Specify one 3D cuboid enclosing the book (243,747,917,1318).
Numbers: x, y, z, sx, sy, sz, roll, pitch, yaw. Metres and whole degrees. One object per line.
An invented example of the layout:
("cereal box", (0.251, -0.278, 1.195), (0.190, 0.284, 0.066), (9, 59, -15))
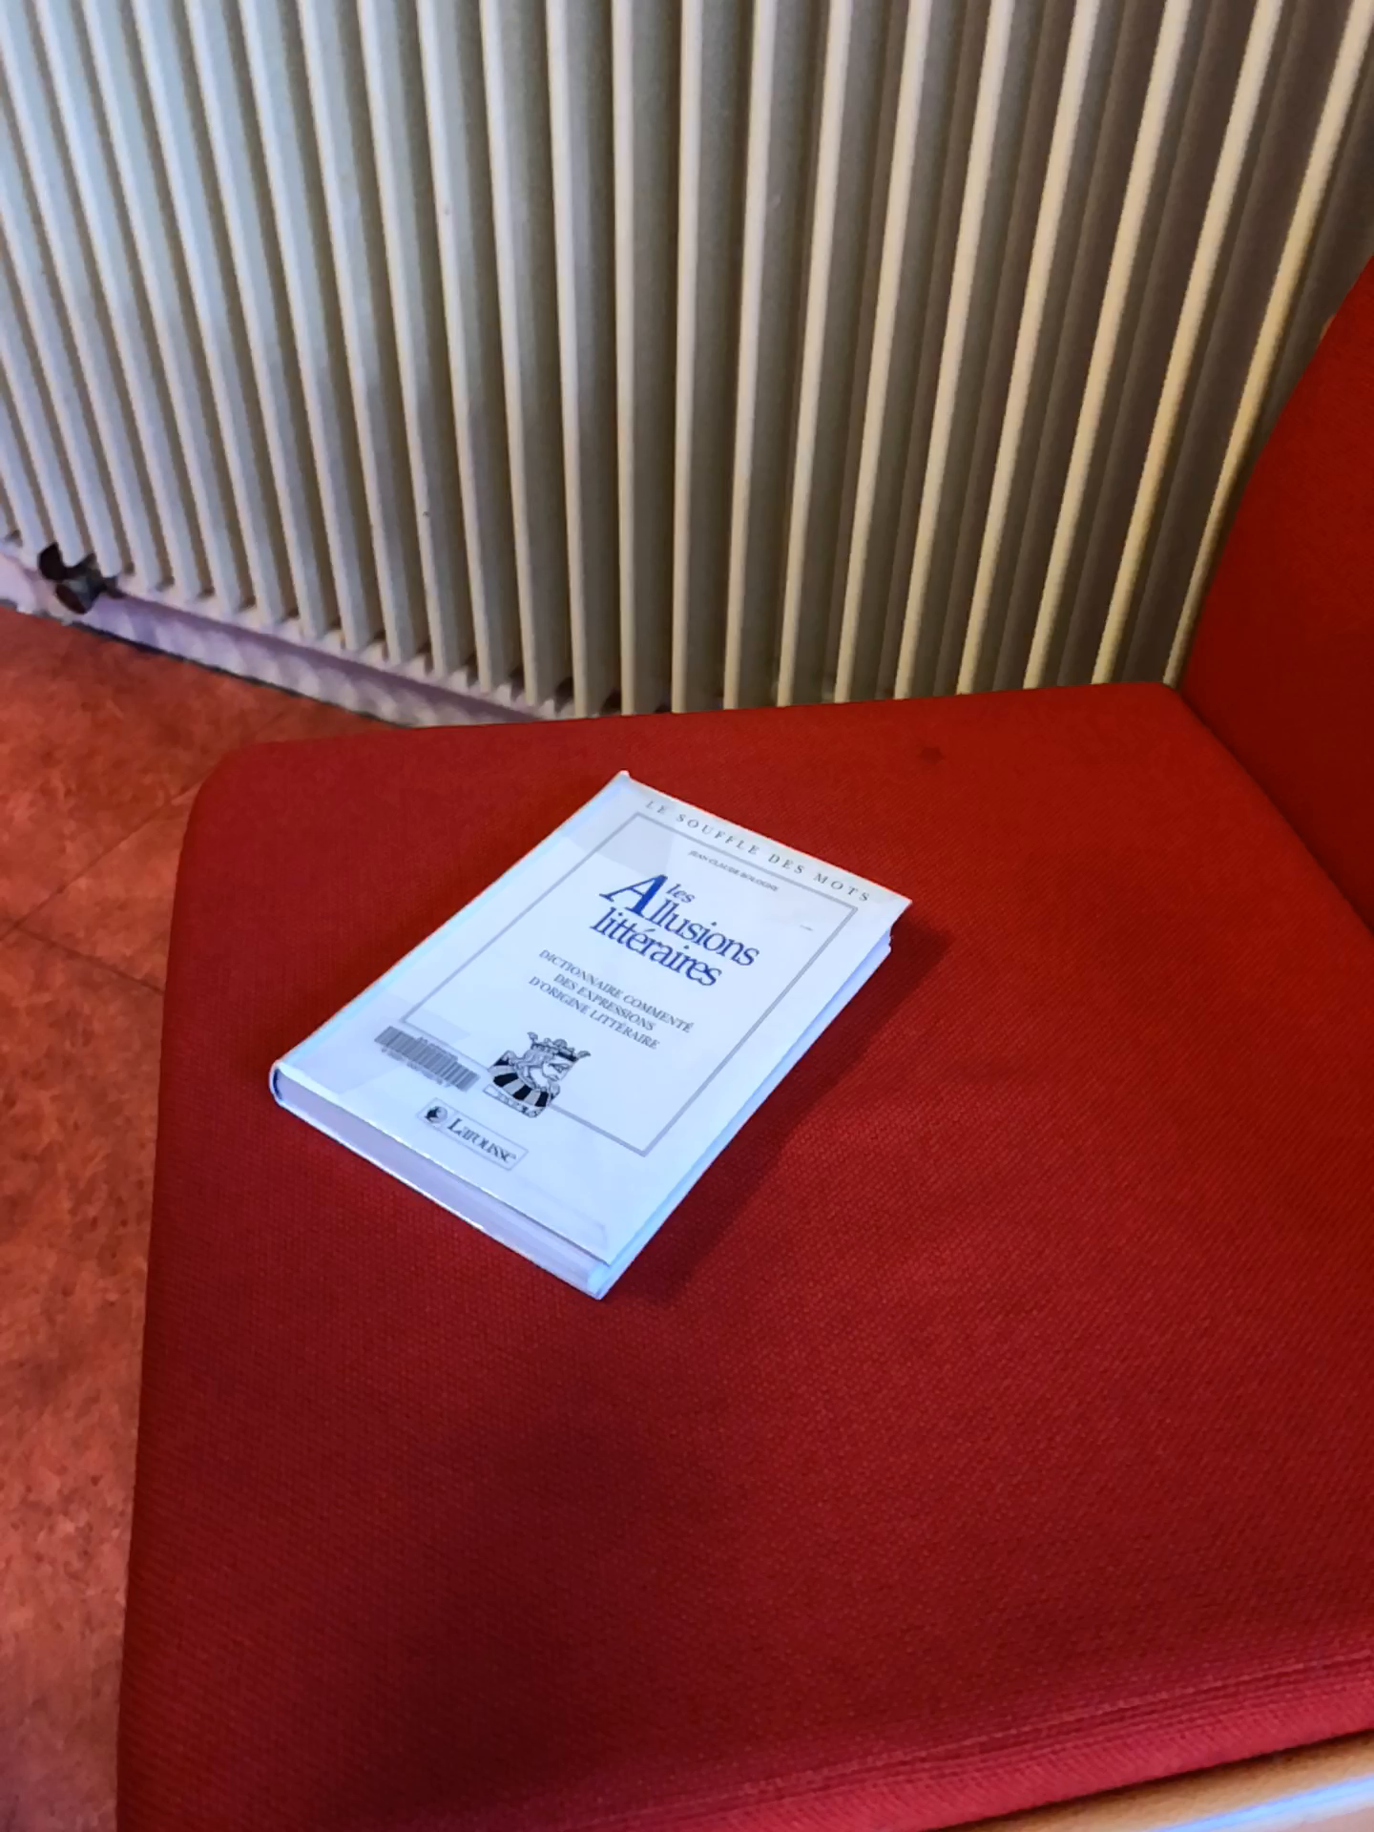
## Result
("book", (-0.031, 0.028, 0.571), (0.150, 0.030, 0.218), (25, 48, 23))
